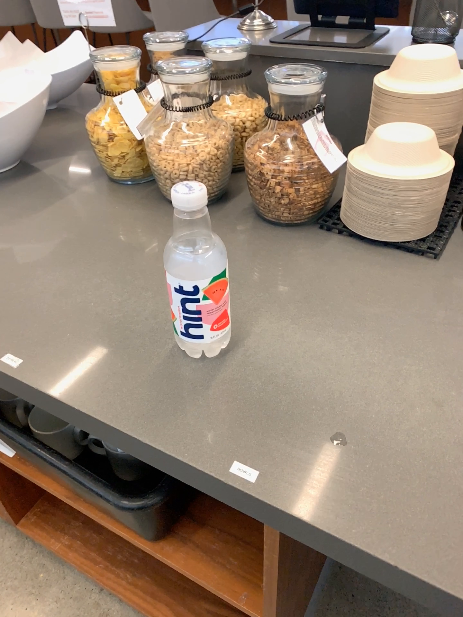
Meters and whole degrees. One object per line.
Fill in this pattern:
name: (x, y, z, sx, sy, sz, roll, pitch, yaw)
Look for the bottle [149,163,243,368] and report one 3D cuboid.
bottle: (-0.033, -0.039, 0.497, 0.070, 0.199, 0.070, -2, 39, 1)
